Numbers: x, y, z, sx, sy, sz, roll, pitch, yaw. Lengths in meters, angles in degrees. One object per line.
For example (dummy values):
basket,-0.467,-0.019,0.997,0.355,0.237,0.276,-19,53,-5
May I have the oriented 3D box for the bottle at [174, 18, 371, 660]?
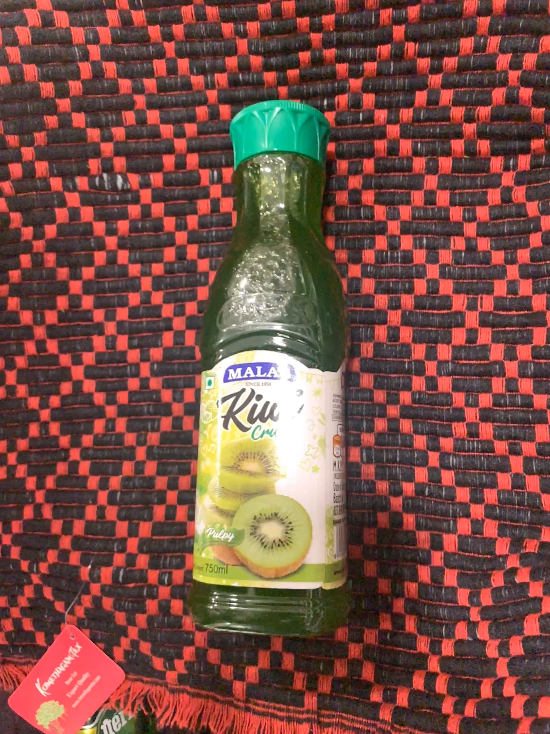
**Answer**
bottle,0.009,-0.018,0.268,0.070,0.080,0.260,0,78,9
